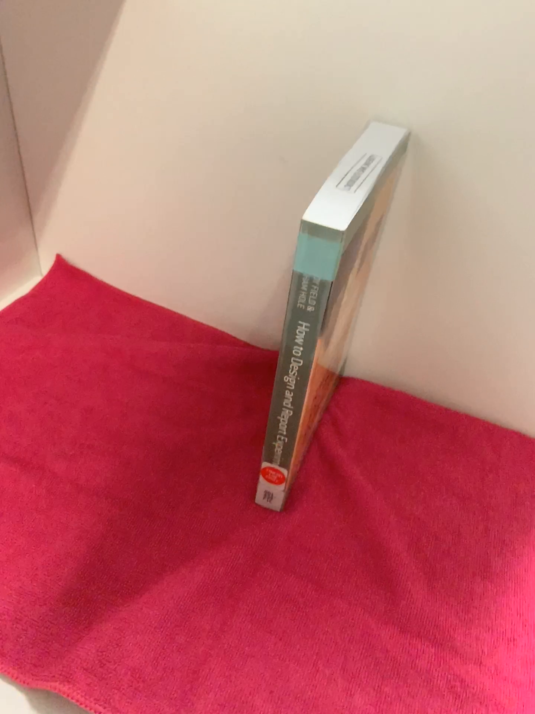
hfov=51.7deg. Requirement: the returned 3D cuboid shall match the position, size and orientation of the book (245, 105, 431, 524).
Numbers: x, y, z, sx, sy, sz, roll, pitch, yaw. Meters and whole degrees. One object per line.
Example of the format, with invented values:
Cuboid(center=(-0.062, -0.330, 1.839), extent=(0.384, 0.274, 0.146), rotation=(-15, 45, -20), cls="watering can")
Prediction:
Cuboid(center=(0.050, -0.030, 0.410), extent=(0.040, 0.248, 0.192), rotation=(19, 41, 12), cls="book")
